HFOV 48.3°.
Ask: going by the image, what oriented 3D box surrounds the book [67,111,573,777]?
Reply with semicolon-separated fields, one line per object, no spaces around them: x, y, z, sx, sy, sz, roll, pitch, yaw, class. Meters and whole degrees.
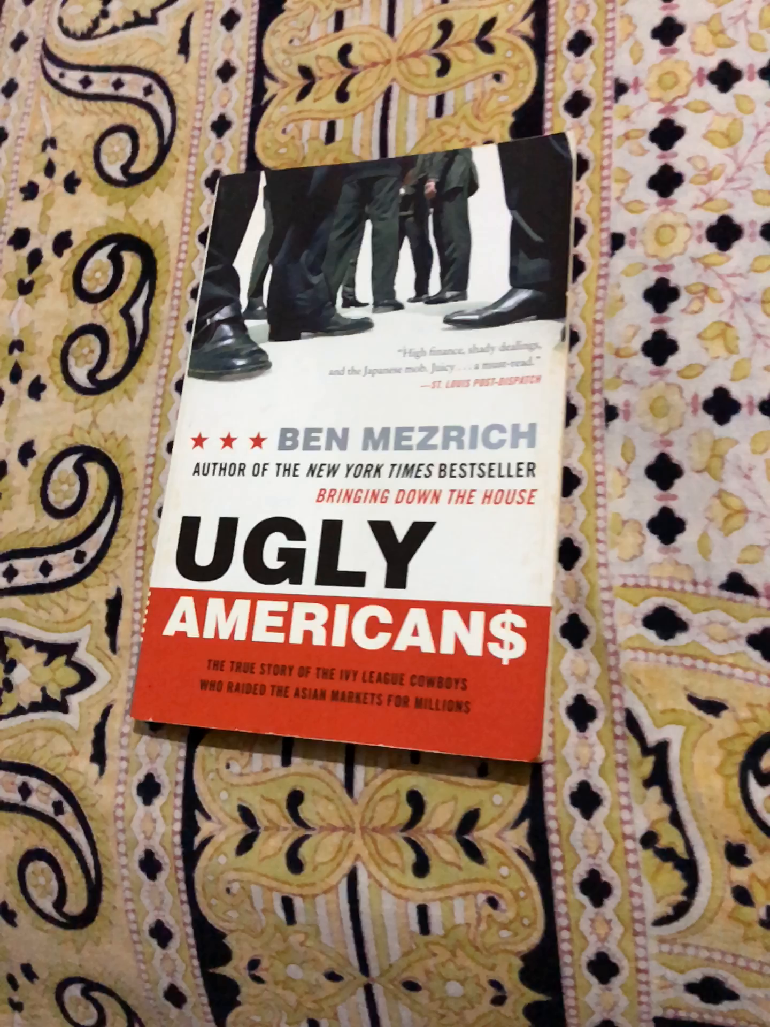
-0.017;-0.024;0.271;0.140;0.030;0.190;0;76;20;book
